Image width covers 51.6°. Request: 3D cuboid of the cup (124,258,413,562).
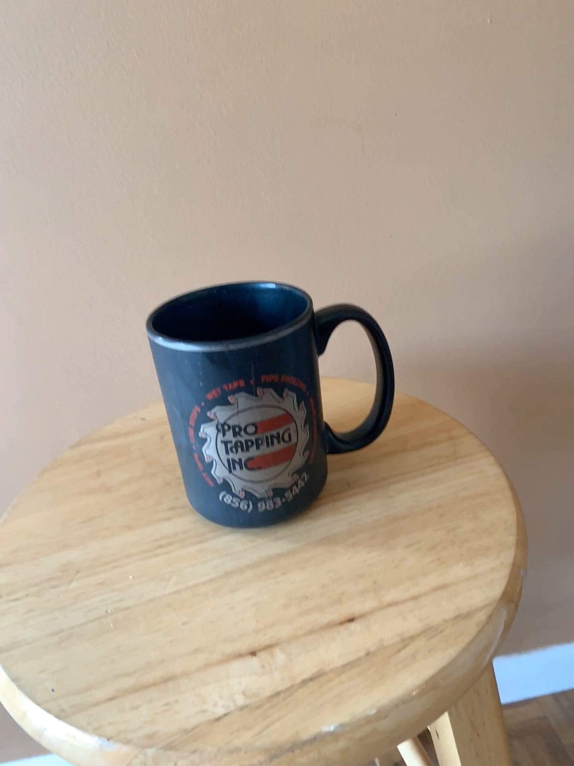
[{"bbox_3d":[-0.013,0.007,0.360,0.140,0.119,0.111,-12,27,-11],"label":"cup"}]
